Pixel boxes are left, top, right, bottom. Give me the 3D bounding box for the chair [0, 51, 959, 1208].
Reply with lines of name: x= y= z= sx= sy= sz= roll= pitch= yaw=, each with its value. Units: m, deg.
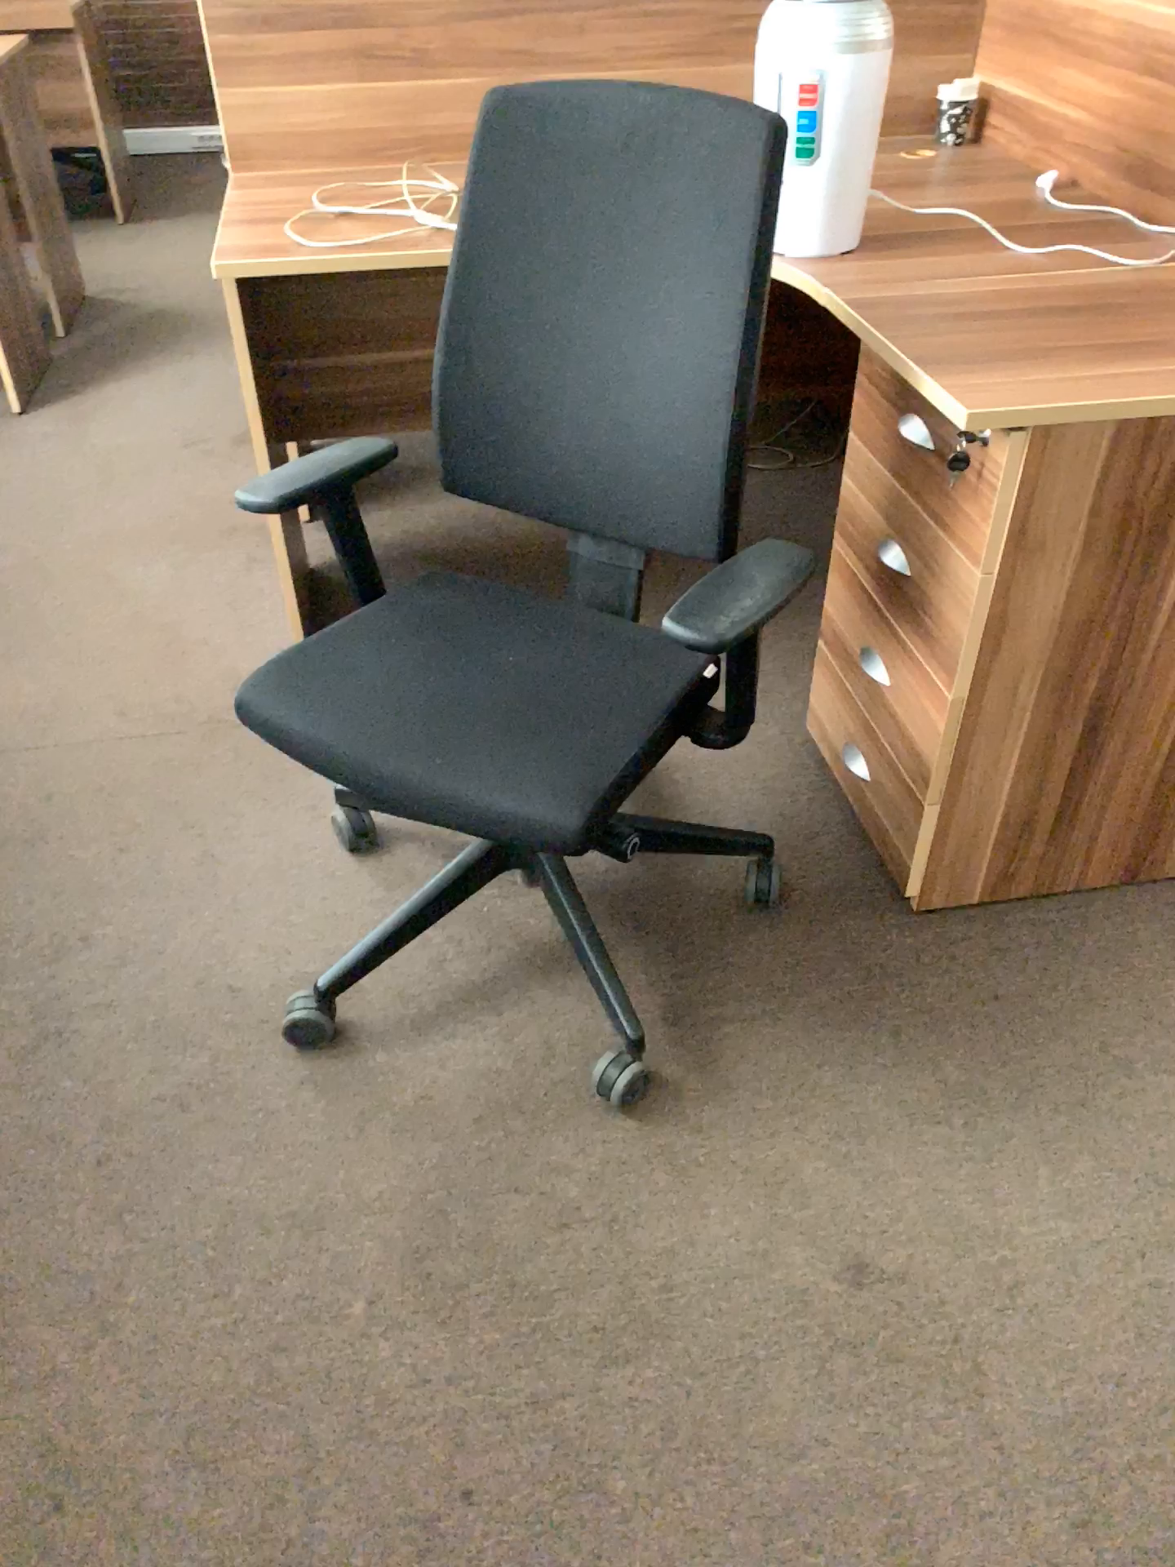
chair: x=-0.108 y=-0.235 z=1.368 sx=0.671 sy=0.915 sz=0.793 roll=20 pitch=43 yaw=24
